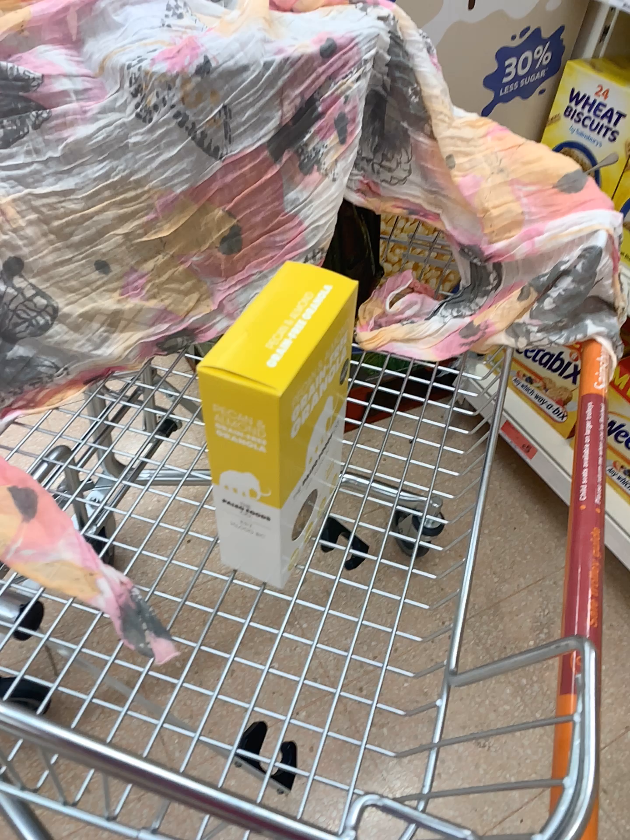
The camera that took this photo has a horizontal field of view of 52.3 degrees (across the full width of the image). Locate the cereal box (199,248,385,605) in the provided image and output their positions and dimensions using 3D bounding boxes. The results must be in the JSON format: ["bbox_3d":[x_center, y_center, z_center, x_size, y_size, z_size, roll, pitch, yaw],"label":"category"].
[{"bbox_3d":[-0.012,0.010,0.449,0.060,0.208,0.131,18,46,15],"label":"cereal box"}]
